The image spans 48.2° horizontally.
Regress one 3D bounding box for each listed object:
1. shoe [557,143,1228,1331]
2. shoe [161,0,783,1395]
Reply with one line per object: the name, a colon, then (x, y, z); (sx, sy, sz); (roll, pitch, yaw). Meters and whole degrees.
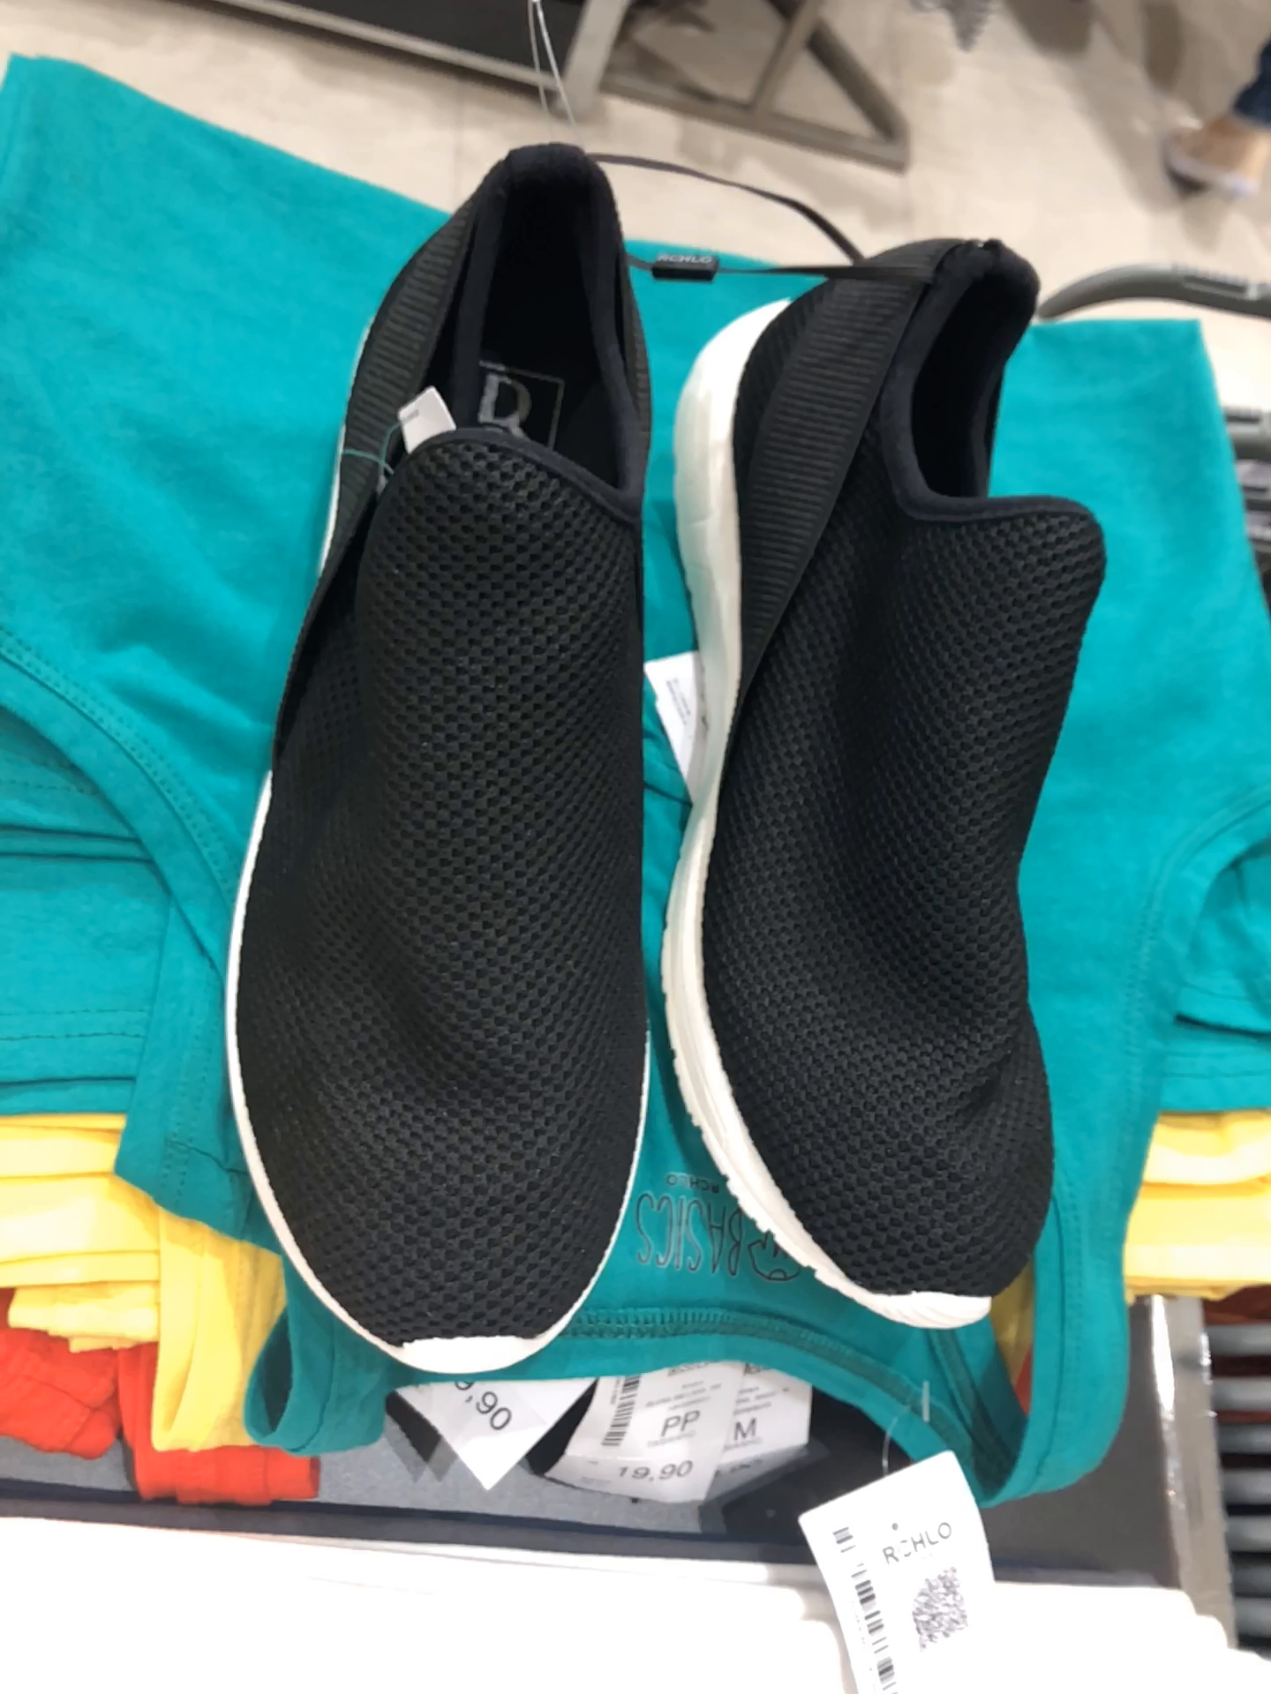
shoe: (0.042, -0.016, 0.333); (0.090, 0.120, 0.240); (6, 68, -17)
shoe: (-0.038, -0.030, 0.298); (0.090, 0.120, 0.260); (6, 72, -17)
